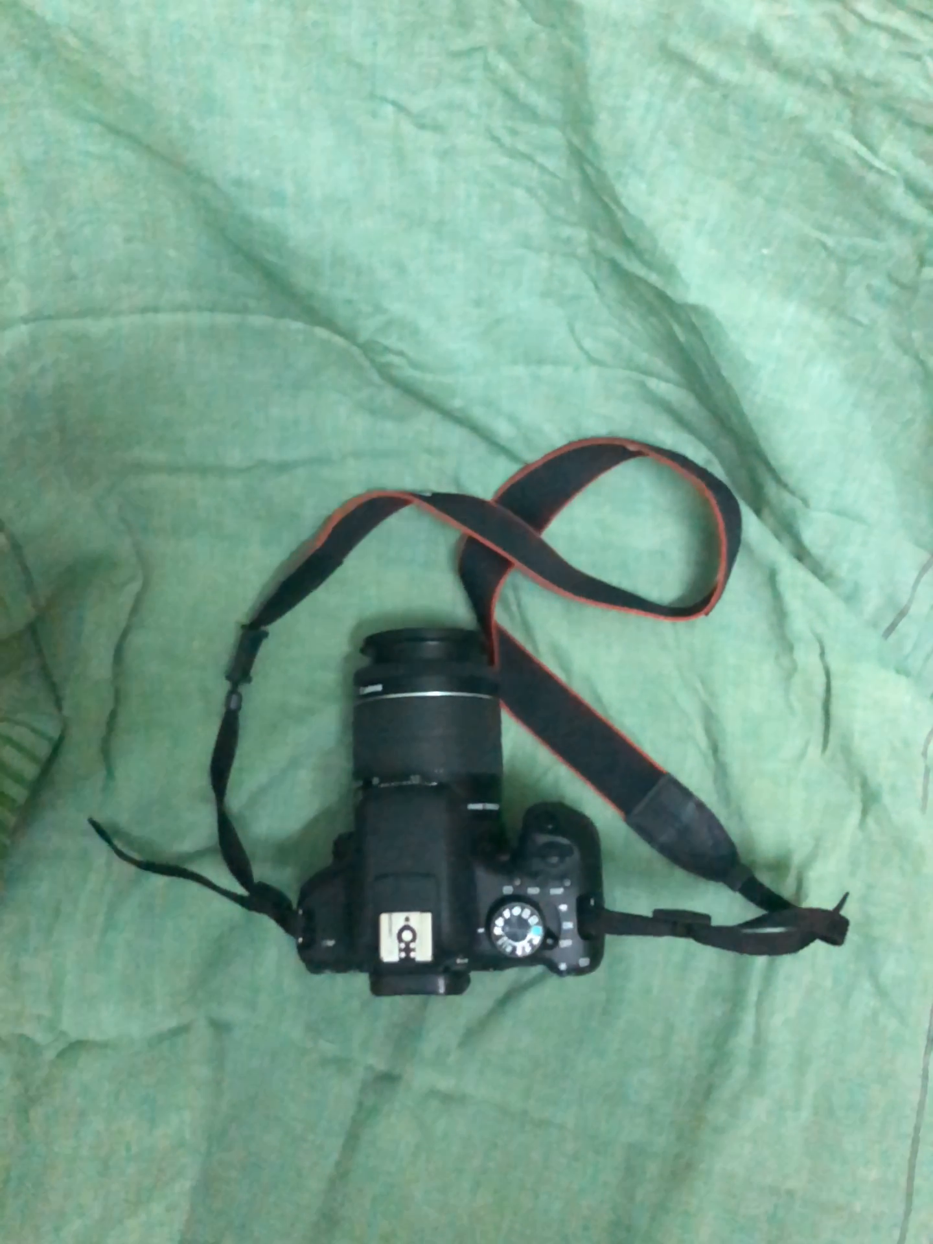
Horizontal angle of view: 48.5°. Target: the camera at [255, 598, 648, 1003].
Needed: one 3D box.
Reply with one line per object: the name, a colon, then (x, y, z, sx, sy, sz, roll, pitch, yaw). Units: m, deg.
camera: (-0.006, 0.074, 0.440, 0.142, 0.100, 0.144, -3, 80, 2)
